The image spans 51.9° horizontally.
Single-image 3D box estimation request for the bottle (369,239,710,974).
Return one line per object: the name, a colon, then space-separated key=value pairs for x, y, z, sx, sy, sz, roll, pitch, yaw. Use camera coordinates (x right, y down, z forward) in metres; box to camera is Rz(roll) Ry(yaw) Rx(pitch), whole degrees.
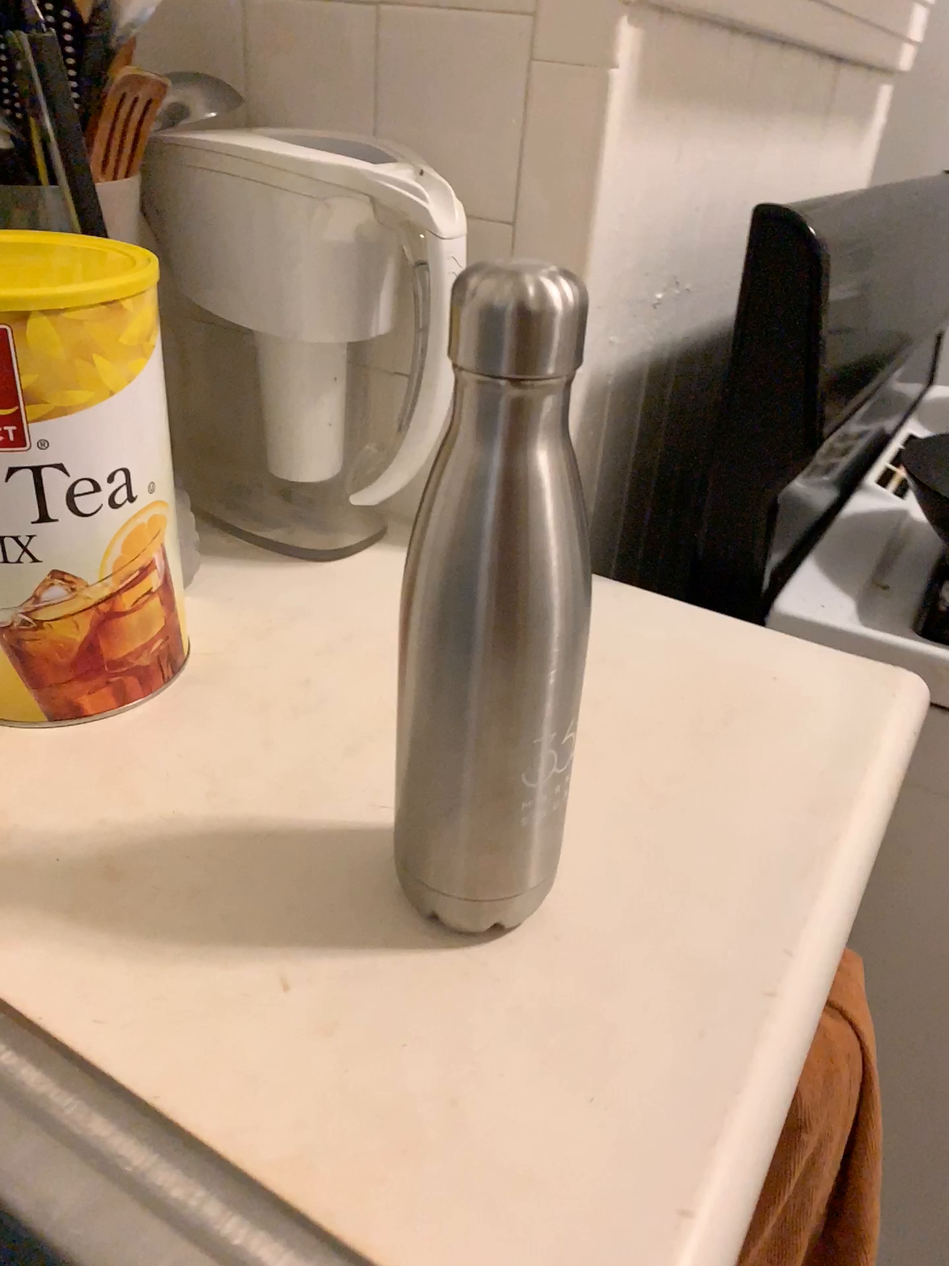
bottle: x=0.014 y=-0.002 z=0.354 sx=0.070 sy=0.249 sz=0.070 roll=4 pitch=30 yaw=-2
